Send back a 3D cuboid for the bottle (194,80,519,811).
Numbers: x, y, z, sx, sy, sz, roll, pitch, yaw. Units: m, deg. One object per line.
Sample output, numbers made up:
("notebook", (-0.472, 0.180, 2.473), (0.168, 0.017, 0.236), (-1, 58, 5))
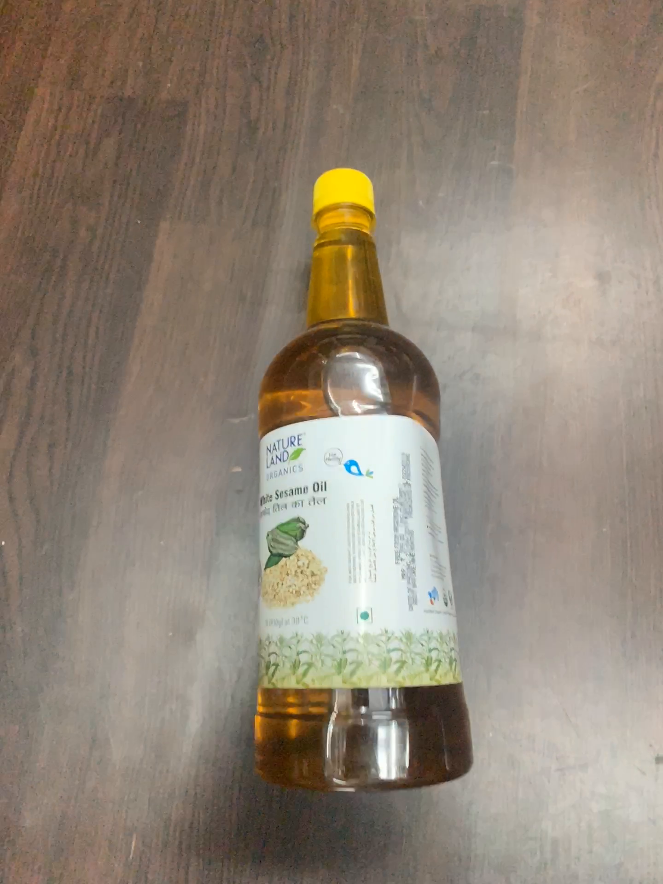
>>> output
("bottle", (0.009, -0.003, 0.297), (0.080, 0.090, 0.270), (-19, 64, 43))
